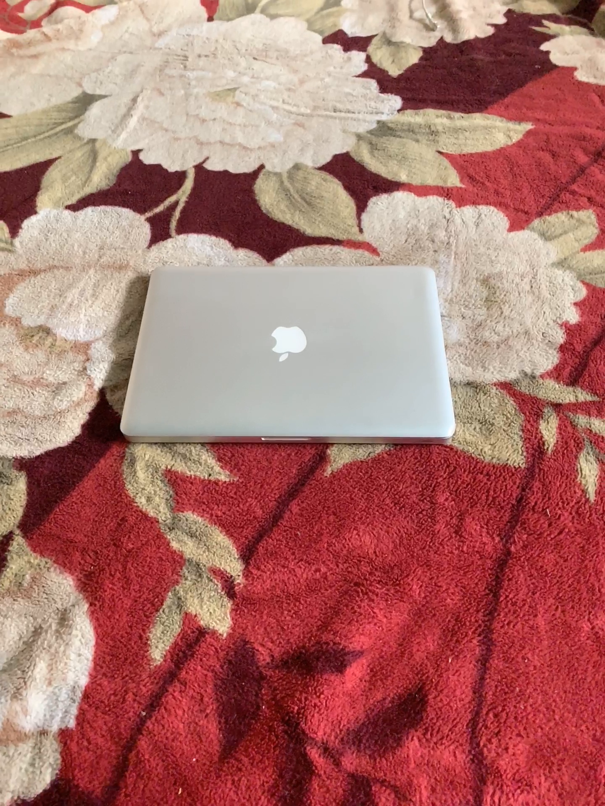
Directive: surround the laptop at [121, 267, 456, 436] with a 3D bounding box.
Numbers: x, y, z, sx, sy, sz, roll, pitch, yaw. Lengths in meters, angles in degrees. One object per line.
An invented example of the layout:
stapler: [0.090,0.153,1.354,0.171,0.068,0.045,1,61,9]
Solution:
laptop: [-0.012,-0.059,0.628,0.310,0.001,0.210,0,58,2]
